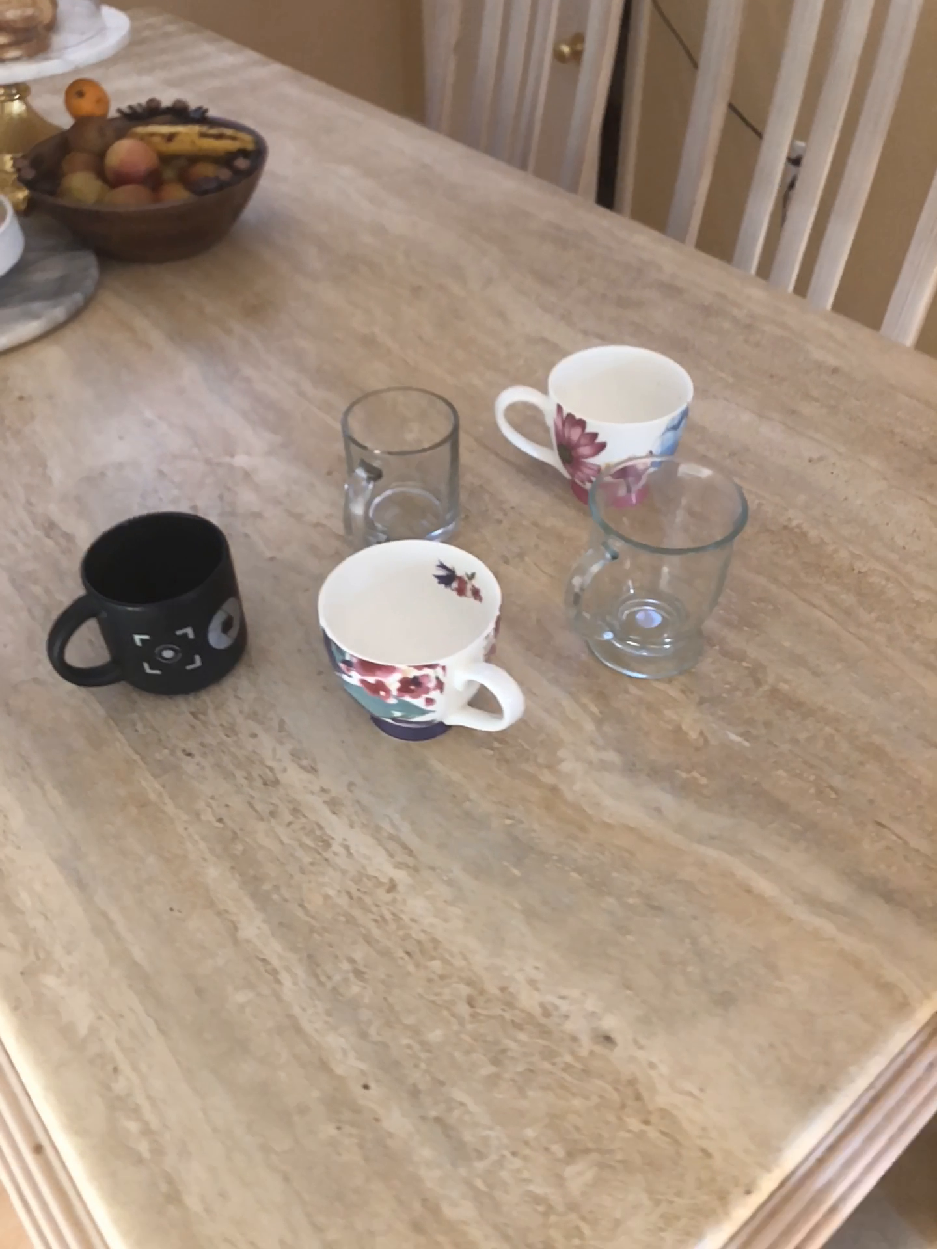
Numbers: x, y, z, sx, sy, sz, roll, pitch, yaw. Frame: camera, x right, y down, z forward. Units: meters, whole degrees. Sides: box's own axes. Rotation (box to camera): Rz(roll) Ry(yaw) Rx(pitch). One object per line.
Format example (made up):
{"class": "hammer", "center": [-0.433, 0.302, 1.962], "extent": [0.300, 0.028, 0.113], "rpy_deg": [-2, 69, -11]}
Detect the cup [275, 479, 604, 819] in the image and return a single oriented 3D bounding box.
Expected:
{"class": "cup", "center": [-0.017, 0.010, 0.614], "extent": [0.150, 0.099, 0.111], "rpy_deg": [34, 54, 29]}

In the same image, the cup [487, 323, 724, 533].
{"class": "cup", "center": [0.098, -0.152, 0.794], "extent": [0.150, 0.099, 0.111], "rpy_deg": [-7, 45, -6]}

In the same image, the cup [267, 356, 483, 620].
{"class": "cup", "center": [-0.062, -0.102, 0.756], "extent": [0.090, 0.119, 0.131], "rpy_deg": [23, 50, 22]}

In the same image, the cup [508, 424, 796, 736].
{"class": "cup", "center": [0.112, -0.031, 0.664], "extent": [0.141, 0.119, 0.100], "rpy_deg": [-28, 51, -25]}

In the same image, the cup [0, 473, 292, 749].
{"class": "cup", "center": [-0.207, -0.012, 0.675], "extent": [0.141, 0.089, 0.100], "rpy_deg": [-28, 51, -25]}
